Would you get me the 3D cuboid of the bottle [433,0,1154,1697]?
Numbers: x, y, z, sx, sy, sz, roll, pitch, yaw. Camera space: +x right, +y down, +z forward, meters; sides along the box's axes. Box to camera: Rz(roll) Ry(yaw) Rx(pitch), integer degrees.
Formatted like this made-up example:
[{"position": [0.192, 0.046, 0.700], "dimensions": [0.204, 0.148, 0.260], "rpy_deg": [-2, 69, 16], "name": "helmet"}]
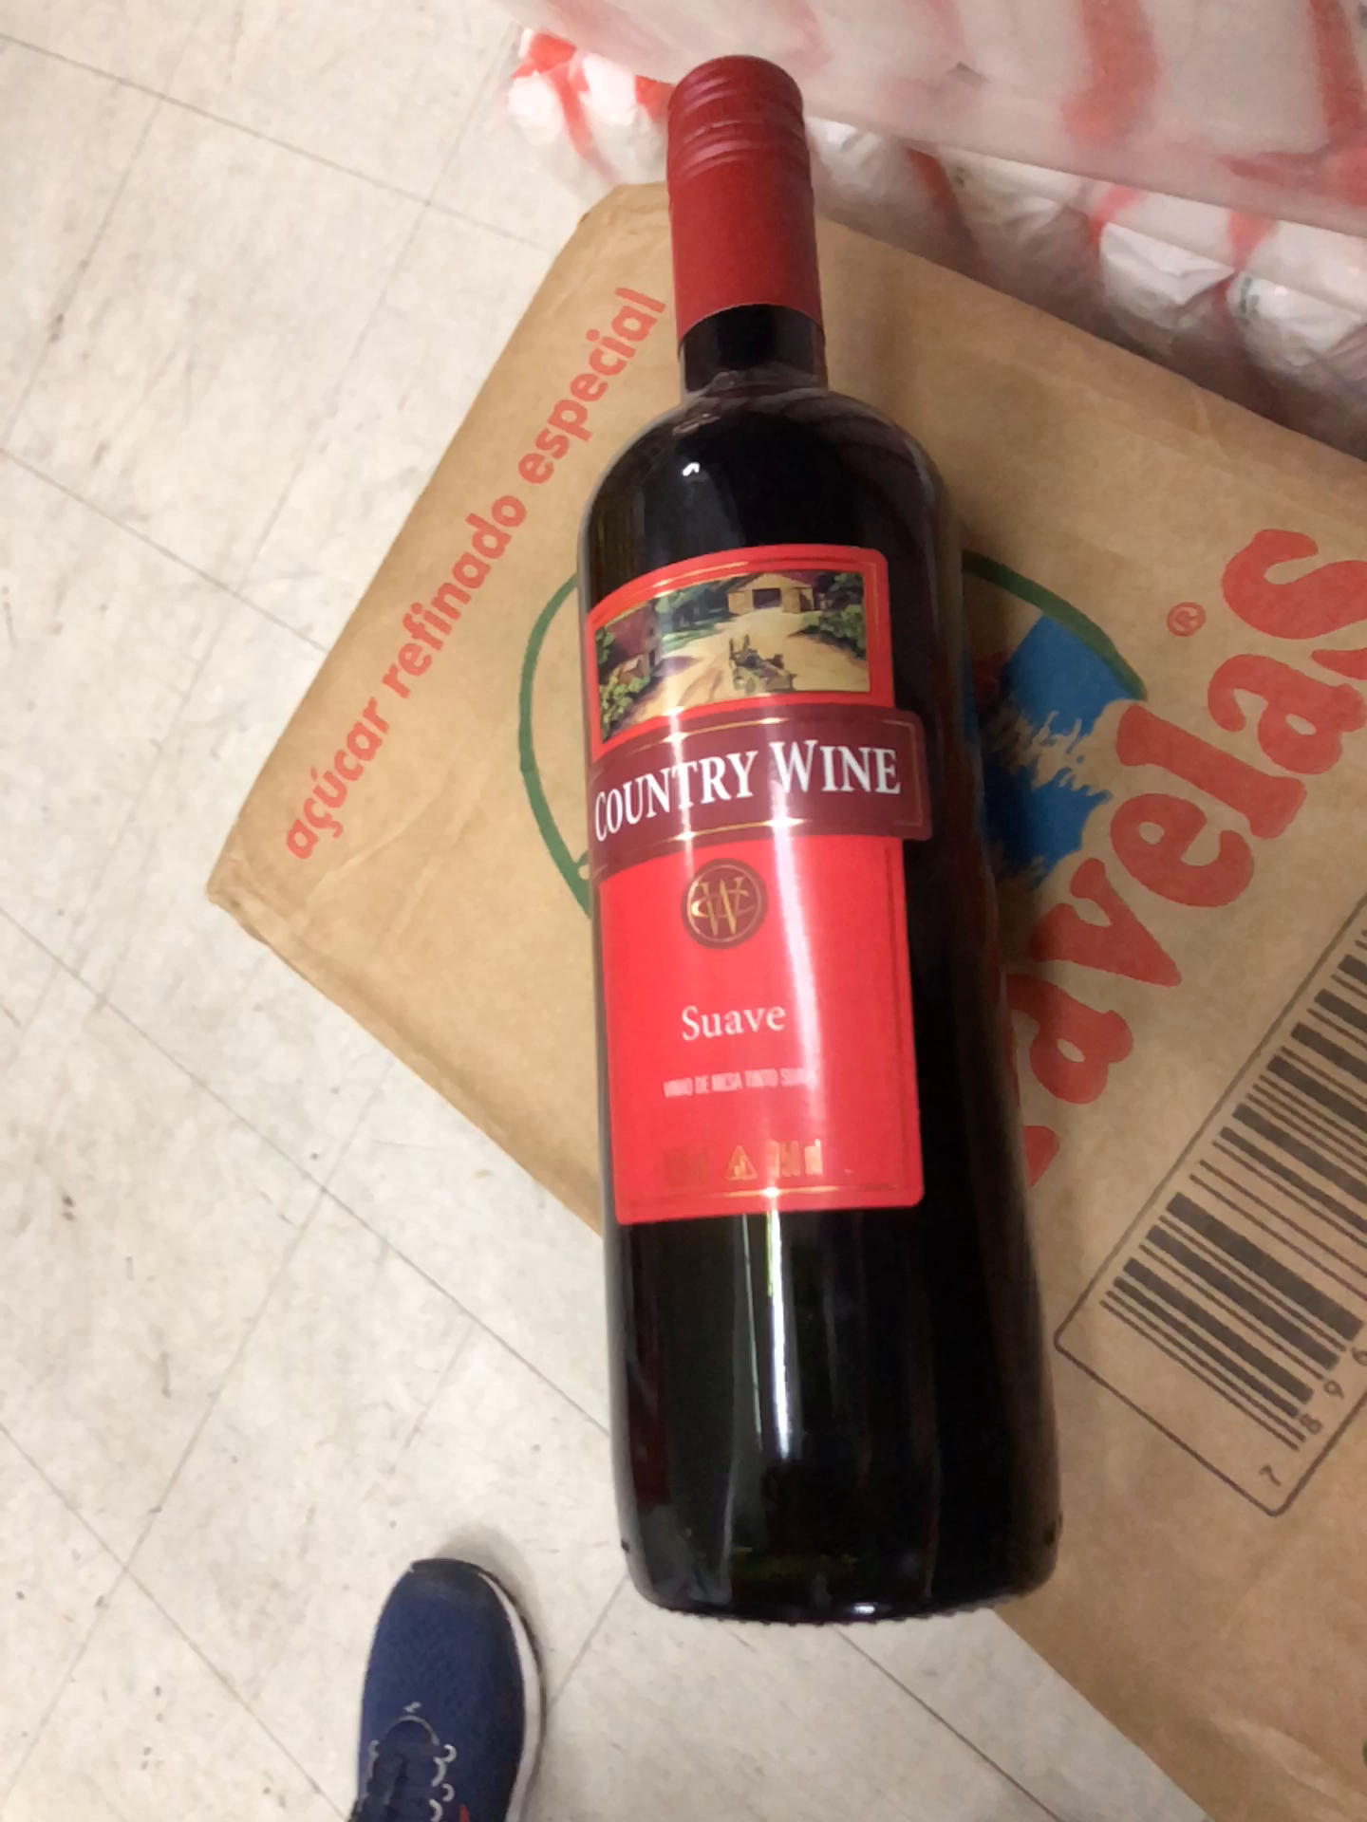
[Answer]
[{"position": [0.016, -0.029, 0.269], "dimensions": [0.080, 0.060, 0.290], "rpy_deg": [-11, 79, 26], "name": "bottle"}]
